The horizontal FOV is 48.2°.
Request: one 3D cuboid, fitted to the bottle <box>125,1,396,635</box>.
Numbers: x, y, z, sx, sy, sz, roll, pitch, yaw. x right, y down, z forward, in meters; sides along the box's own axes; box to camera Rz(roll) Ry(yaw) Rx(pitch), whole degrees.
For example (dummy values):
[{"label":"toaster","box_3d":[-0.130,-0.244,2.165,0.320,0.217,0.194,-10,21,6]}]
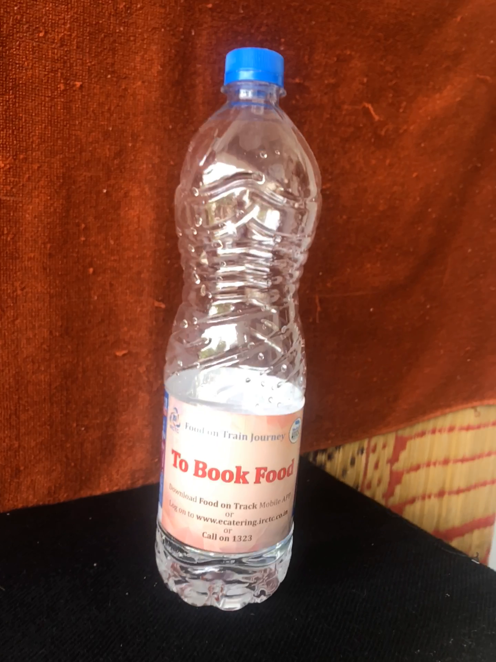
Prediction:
[{"label":"bottle","box_3d":[-0.001,0.003,0.283,0.090,0.279,0.070,6,11,-2]}]
